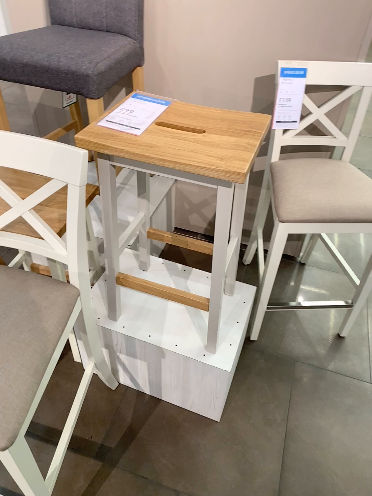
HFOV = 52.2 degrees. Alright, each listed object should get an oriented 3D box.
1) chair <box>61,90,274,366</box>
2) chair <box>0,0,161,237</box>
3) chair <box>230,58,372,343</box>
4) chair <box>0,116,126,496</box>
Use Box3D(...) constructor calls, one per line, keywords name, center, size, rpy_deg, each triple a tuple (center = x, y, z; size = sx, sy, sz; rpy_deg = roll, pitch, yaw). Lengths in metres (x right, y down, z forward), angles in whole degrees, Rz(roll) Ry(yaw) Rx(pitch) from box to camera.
Box3D(name="chair", center=(-0.035, -0.040, 1.076), size=(0.397, 0.638, 0.324), rpy_deg=(15, 42, 13))
Box3D(name="chair", center=(-0.408, -0.634, 1.420), size=(0.467, 0.984, 0.536), rpy_deg=(14, 42, 12))
Box3D(name="chair", center=(0.474, -0.139, 1.454), size=(0.417, 0.945, 0.516), rpy_deg=(-1, 41, -5))
Box3D(name="chair", center=(-0.470, 0.266, 0.935), size=(0.437, 0.954, 0.506), rpy_deg=(10, 41, 8))
